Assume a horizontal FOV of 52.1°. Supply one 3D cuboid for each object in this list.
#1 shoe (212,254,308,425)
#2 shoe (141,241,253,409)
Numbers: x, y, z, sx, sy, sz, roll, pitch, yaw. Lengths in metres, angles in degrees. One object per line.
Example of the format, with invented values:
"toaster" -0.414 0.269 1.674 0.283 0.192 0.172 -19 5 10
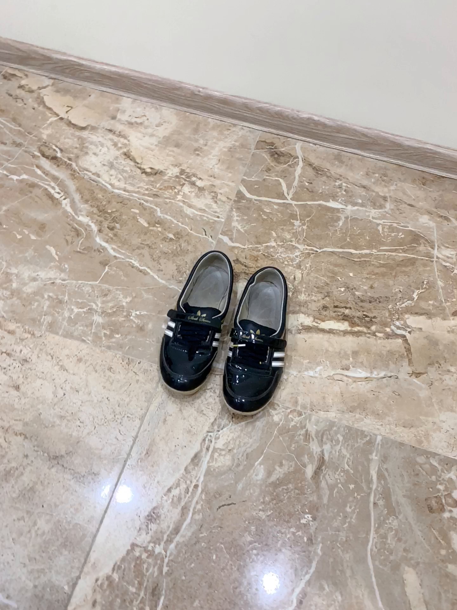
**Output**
"shoe" 0.051 0.044 0.704 0.095 0.060 0.241 13 59 3
"shoe" -0.041 0.024 0.712 0.095 0.060 0.241 16 59 5
